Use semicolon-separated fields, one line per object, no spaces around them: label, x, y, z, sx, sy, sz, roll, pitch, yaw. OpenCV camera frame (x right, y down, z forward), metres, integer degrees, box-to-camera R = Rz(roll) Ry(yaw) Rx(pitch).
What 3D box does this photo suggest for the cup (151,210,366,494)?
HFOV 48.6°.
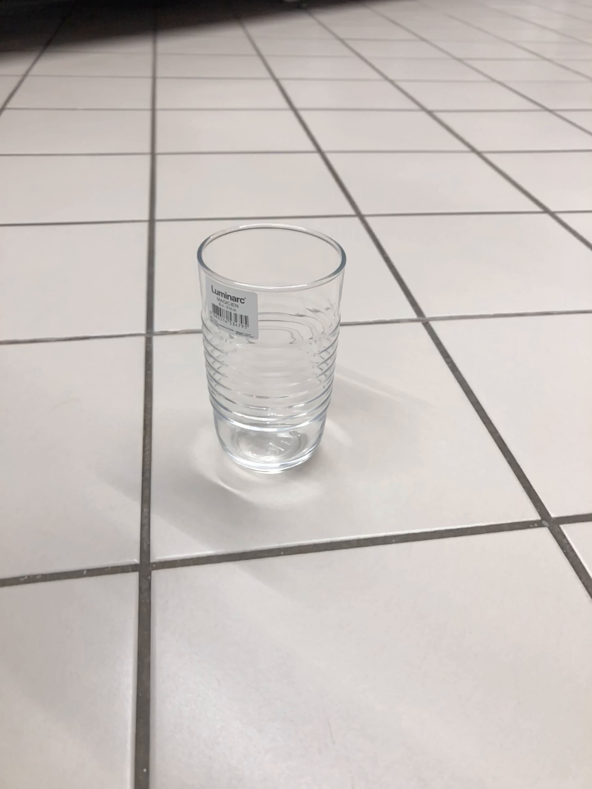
cup;-0.015;-0.022;0.323;0.079;0.104;0.077;2;37;-1
